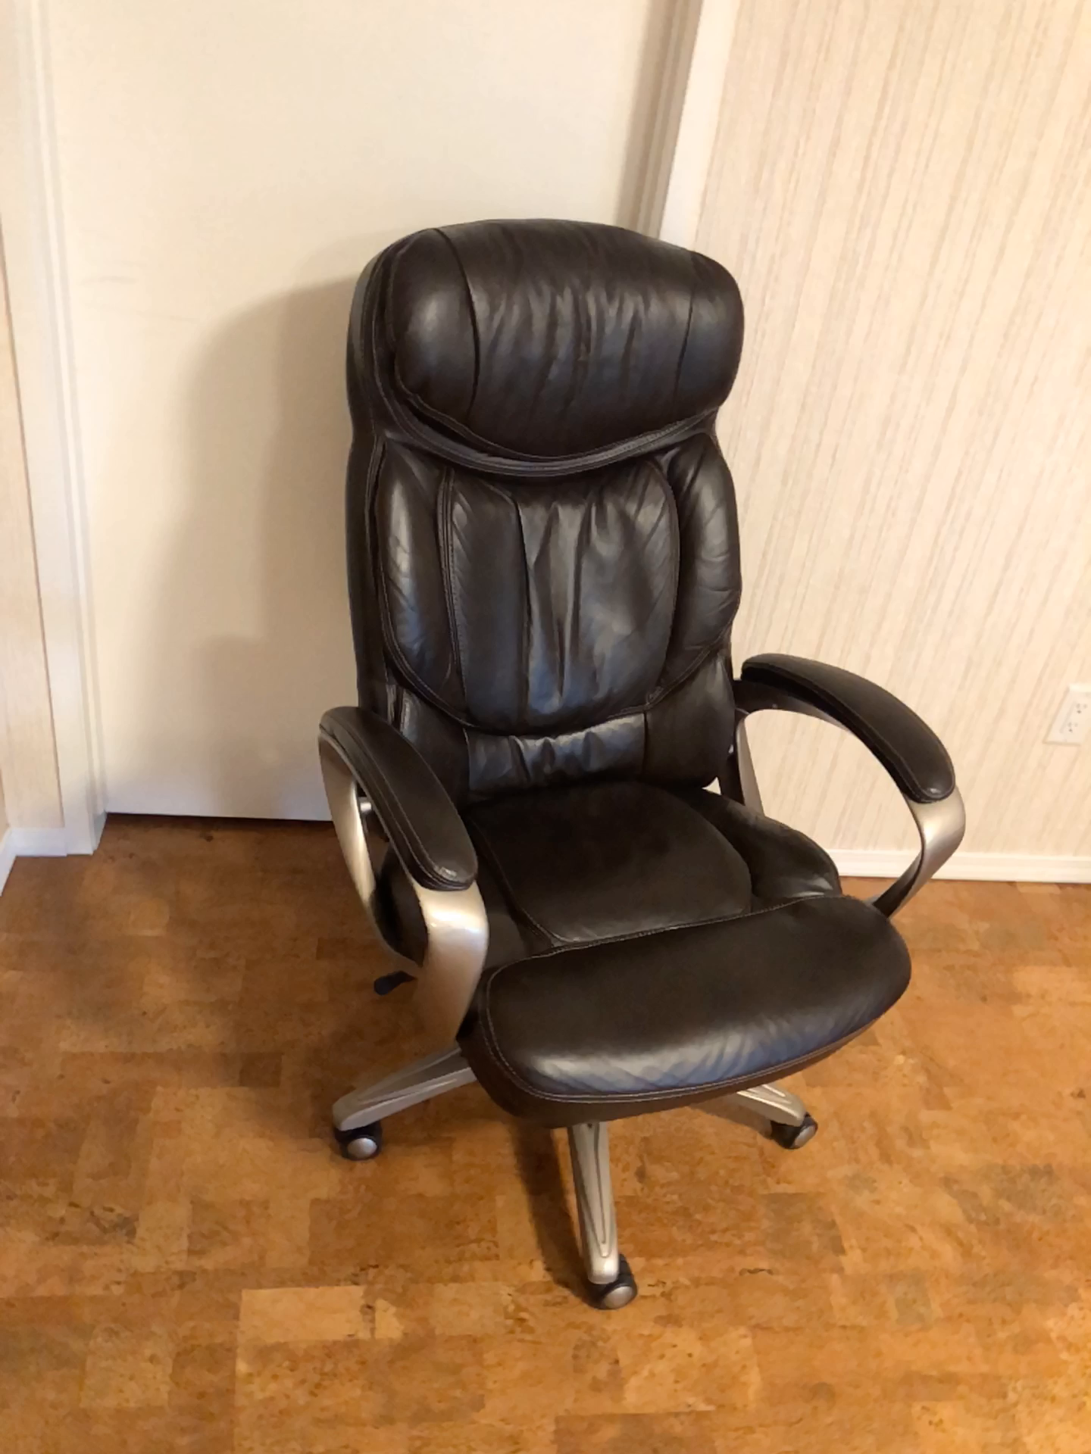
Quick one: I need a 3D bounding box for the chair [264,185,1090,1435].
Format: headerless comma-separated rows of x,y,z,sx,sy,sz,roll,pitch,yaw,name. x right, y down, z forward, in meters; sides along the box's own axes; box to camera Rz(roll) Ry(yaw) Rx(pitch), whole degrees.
0.123,0.064,1.348,0.691,1.086,0.652,-9,37,-27,chair
